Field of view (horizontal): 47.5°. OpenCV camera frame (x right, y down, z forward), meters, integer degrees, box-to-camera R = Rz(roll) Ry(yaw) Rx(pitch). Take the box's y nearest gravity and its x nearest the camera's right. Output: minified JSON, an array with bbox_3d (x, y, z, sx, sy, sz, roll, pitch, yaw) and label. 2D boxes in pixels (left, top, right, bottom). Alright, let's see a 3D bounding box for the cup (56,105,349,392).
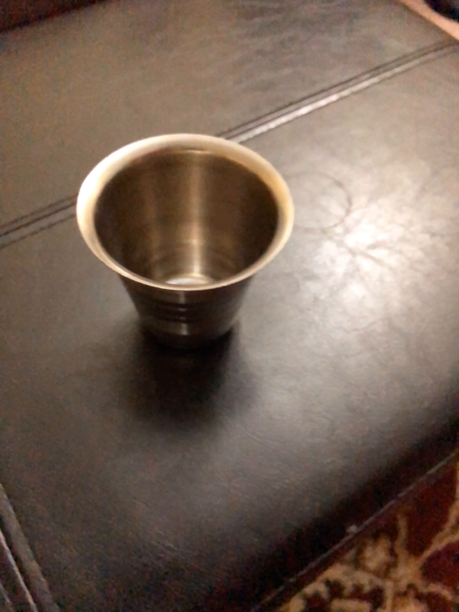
[{"bbox_3d":[-0.012,-0.021,0.184,0.074,0.052,0.067,1,56,-1],"label":"cup"}]
